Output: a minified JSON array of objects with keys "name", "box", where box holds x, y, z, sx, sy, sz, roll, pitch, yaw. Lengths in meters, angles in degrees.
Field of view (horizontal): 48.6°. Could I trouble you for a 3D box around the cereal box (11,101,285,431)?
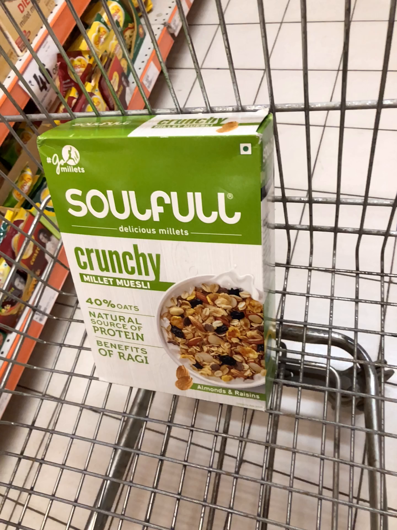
[{"name":"cereal box","box":[-0.023,0.004,0.351,0.170,0.239,0.070,5,30,18]}]
